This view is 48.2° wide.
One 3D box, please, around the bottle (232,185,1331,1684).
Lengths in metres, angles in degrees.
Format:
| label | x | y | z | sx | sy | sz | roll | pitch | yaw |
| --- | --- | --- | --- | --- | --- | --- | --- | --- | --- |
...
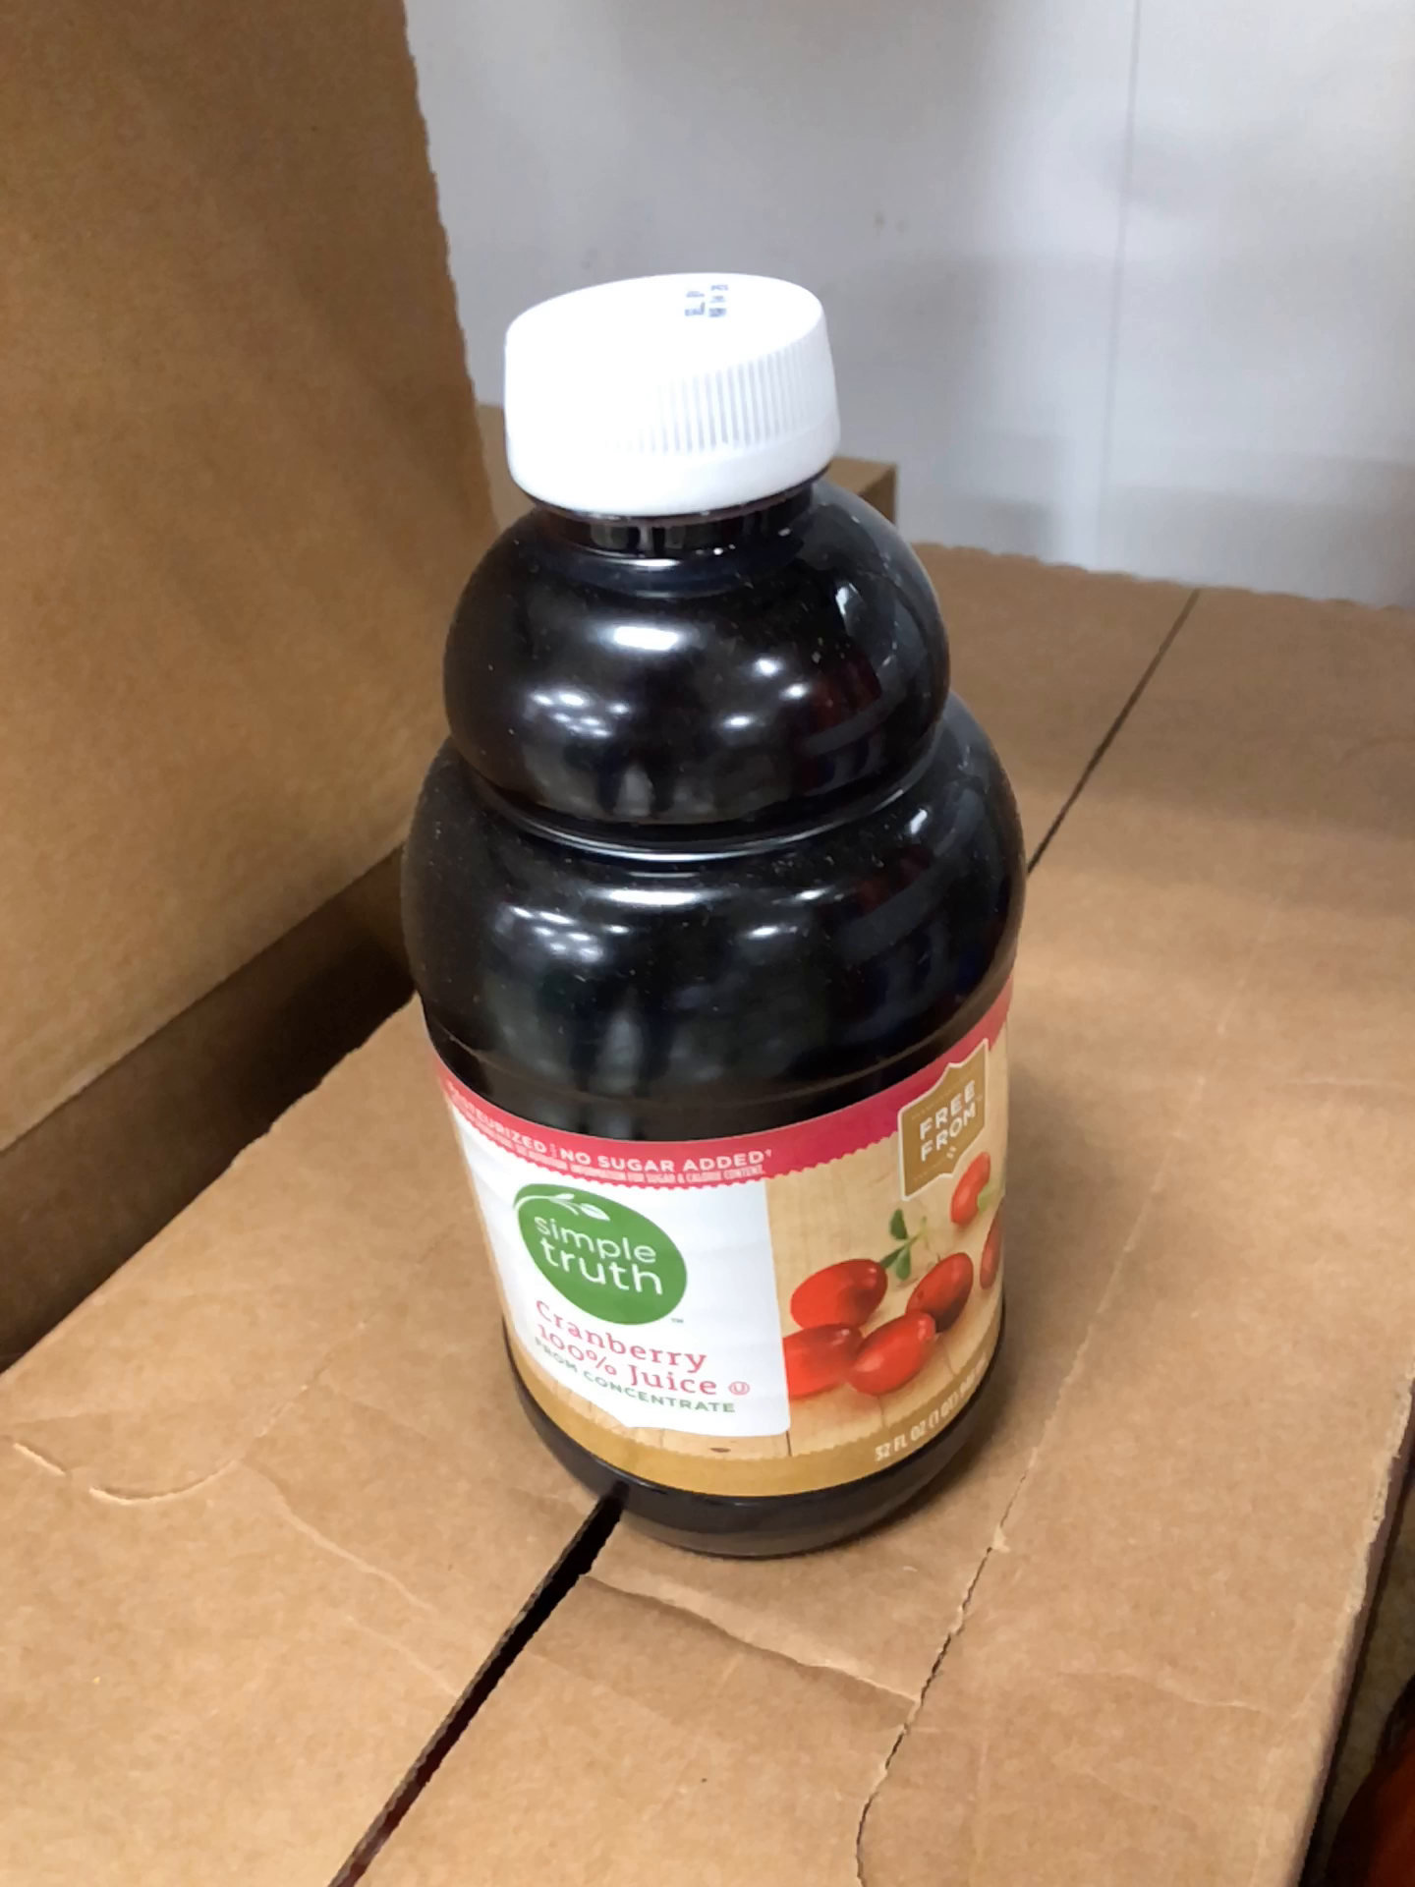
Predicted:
| label | x | y | z | sx | sy | sz | roll | pitch | yaw |
| --- | --- | --- | --- | --- | --- | --- | --- | --- | --- |
| bottle | 0.008 | 0.004 | 0.254 | 0.110 | 0.199 | 0.100 | -4 | 37 | 3 |

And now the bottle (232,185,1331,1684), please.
| label | x | y | z | sx | sy | sz | roll | pitch | yaw |
| --- | --- | --- | --- | --- | --- | --- | --- | --- | --- |
| bottle | 0.008 | 0.004 | 0.254 | 0.110 | 0.199 | 0.100 | -4 | 37 | 3 |
